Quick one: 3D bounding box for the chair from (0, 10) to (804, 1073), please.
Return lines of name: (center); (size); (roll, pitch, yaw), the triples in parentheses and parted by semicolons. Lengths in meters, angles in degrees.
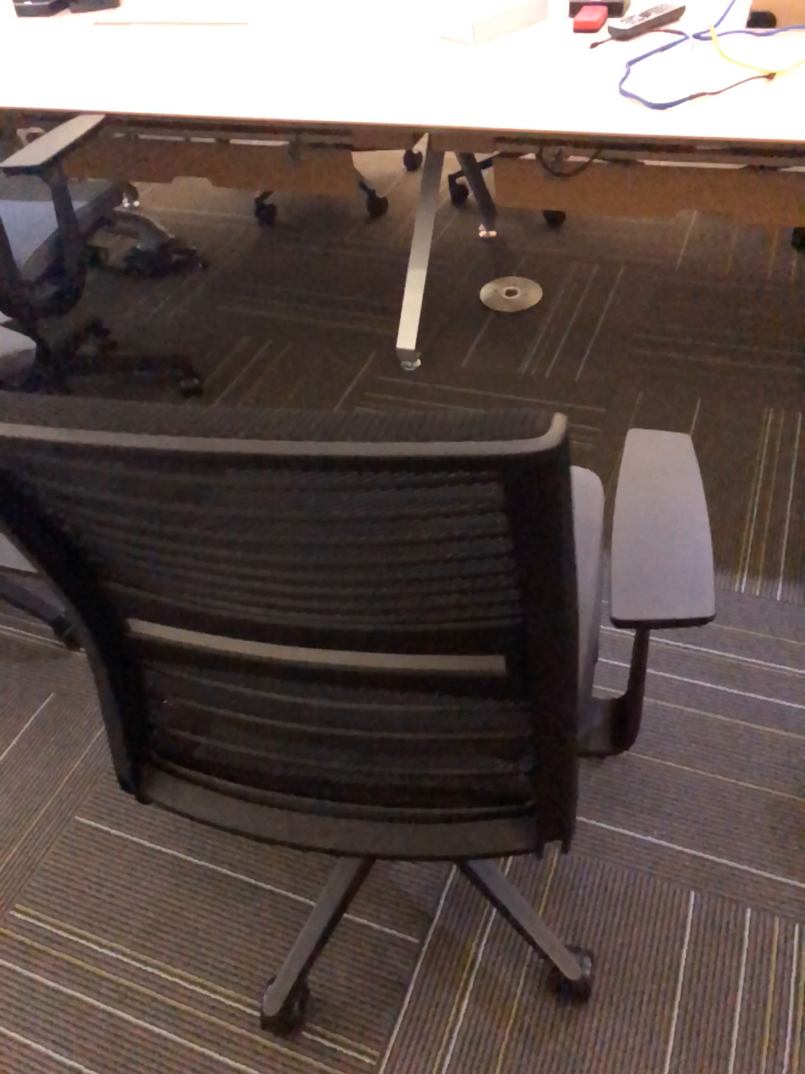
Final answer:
chair: (-0.034, 0.041, 0.927); (0.720, 0.856, 0.663); (2, 43, 10)
